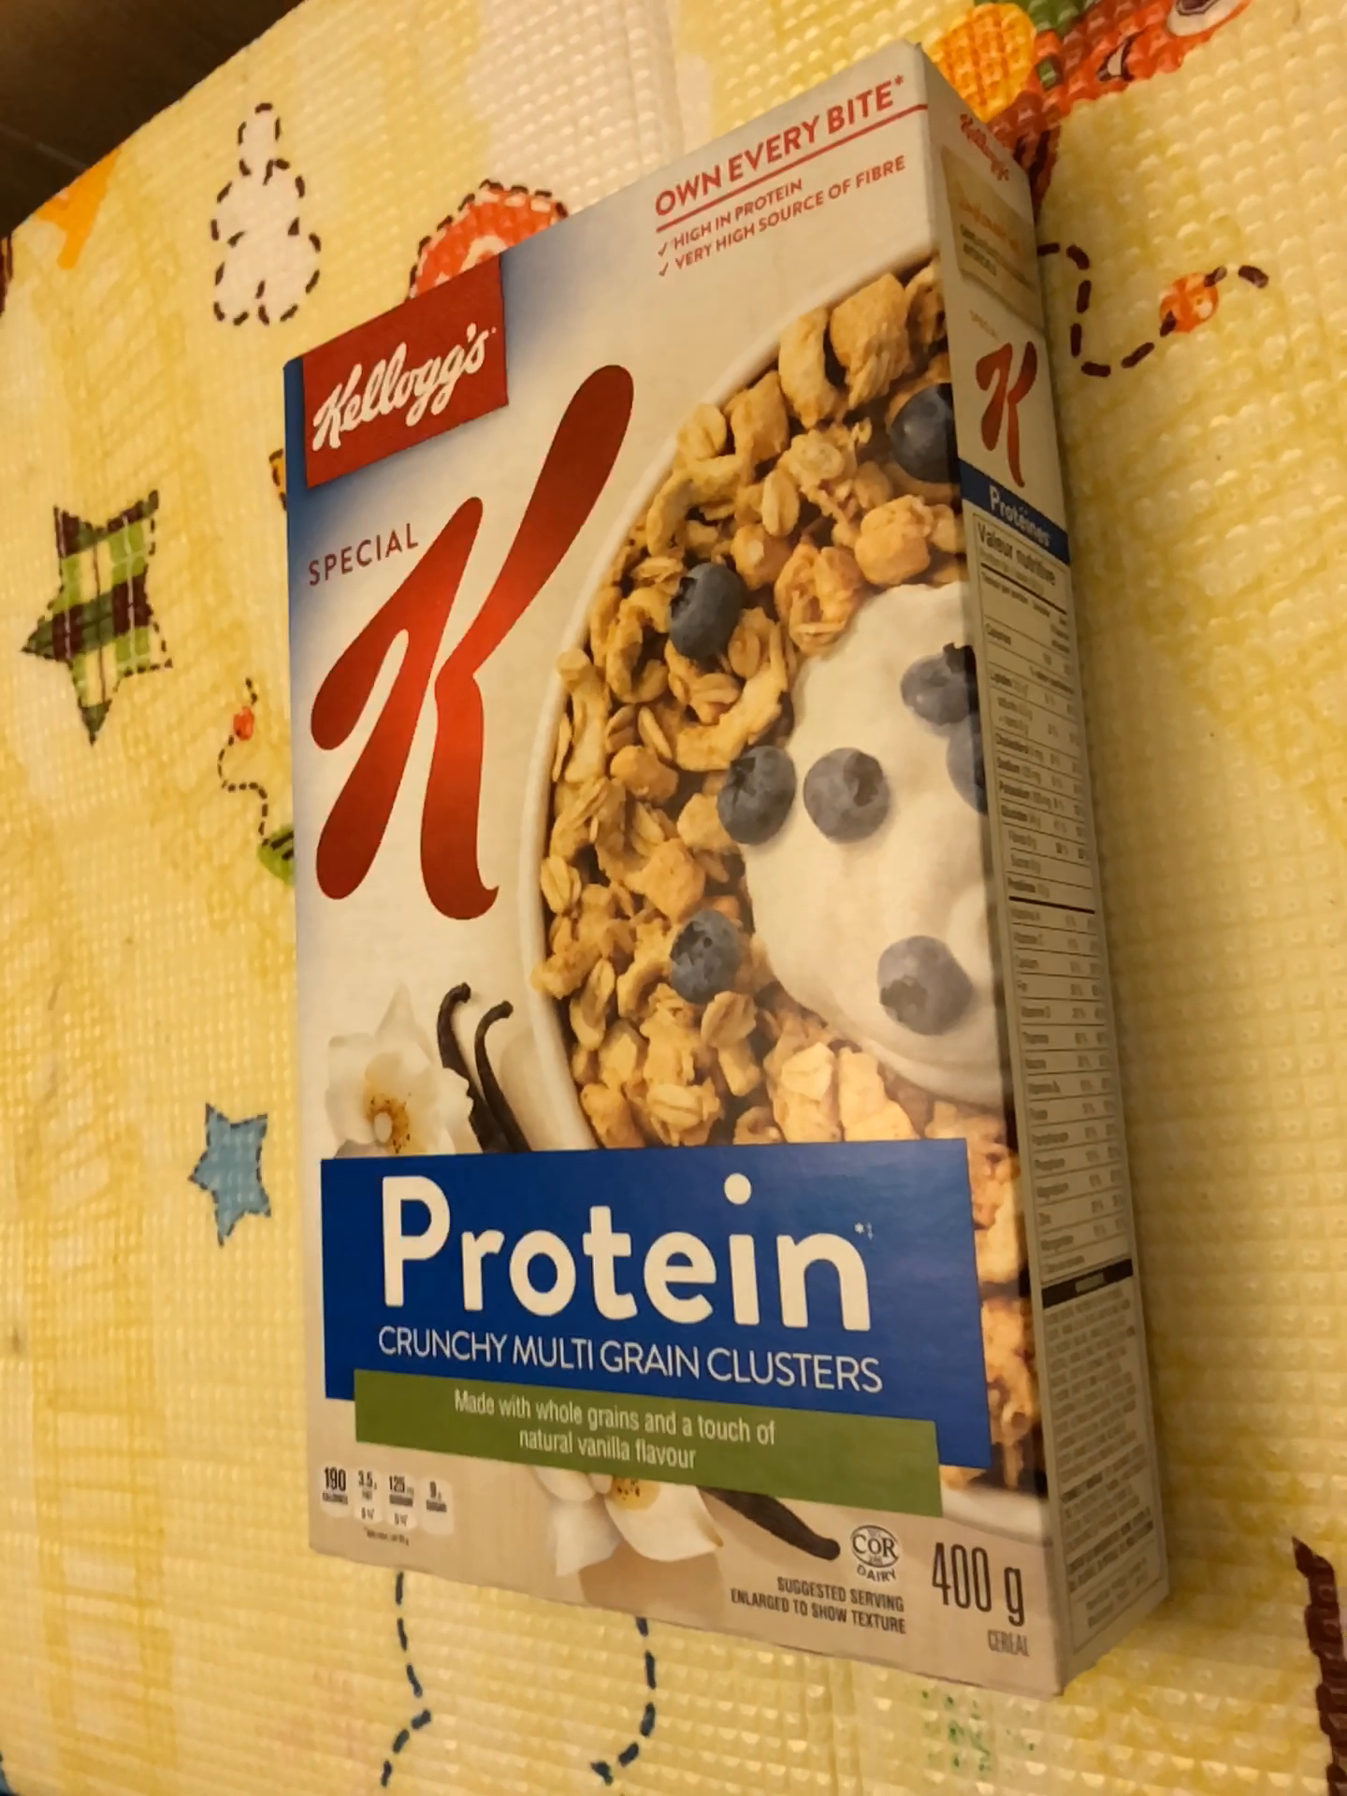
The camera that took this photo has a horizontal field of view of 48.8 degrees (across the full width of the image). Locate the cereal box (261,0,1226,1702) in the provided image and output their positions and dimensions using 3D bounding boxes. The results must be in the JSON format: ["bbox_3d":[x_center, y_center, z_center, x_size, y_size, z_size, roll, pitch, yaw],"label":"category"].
[{"bbox_3d":[0.003,-0.004,0.286,0.161,0.060,0.250,-7,83,34],"label":"cereal box"}]
